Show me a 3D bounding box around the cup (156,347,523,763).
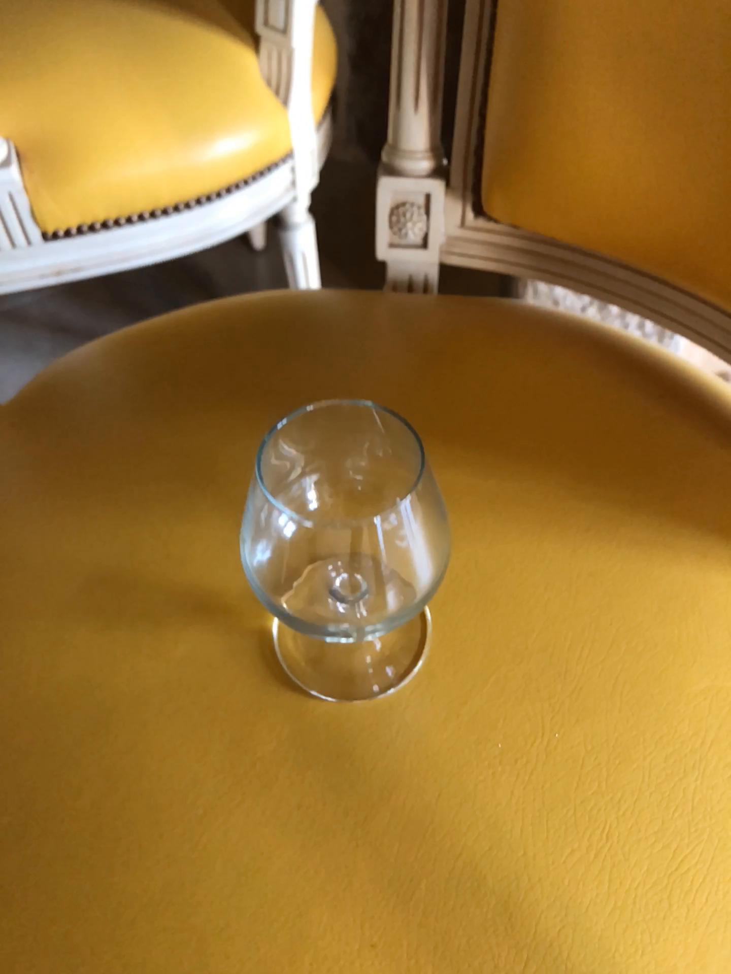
[{"bbox_3d":[-0.009,0.022,0.257,0.080,0.089,0.070,-18,51,-15],"label":"cup"}]
